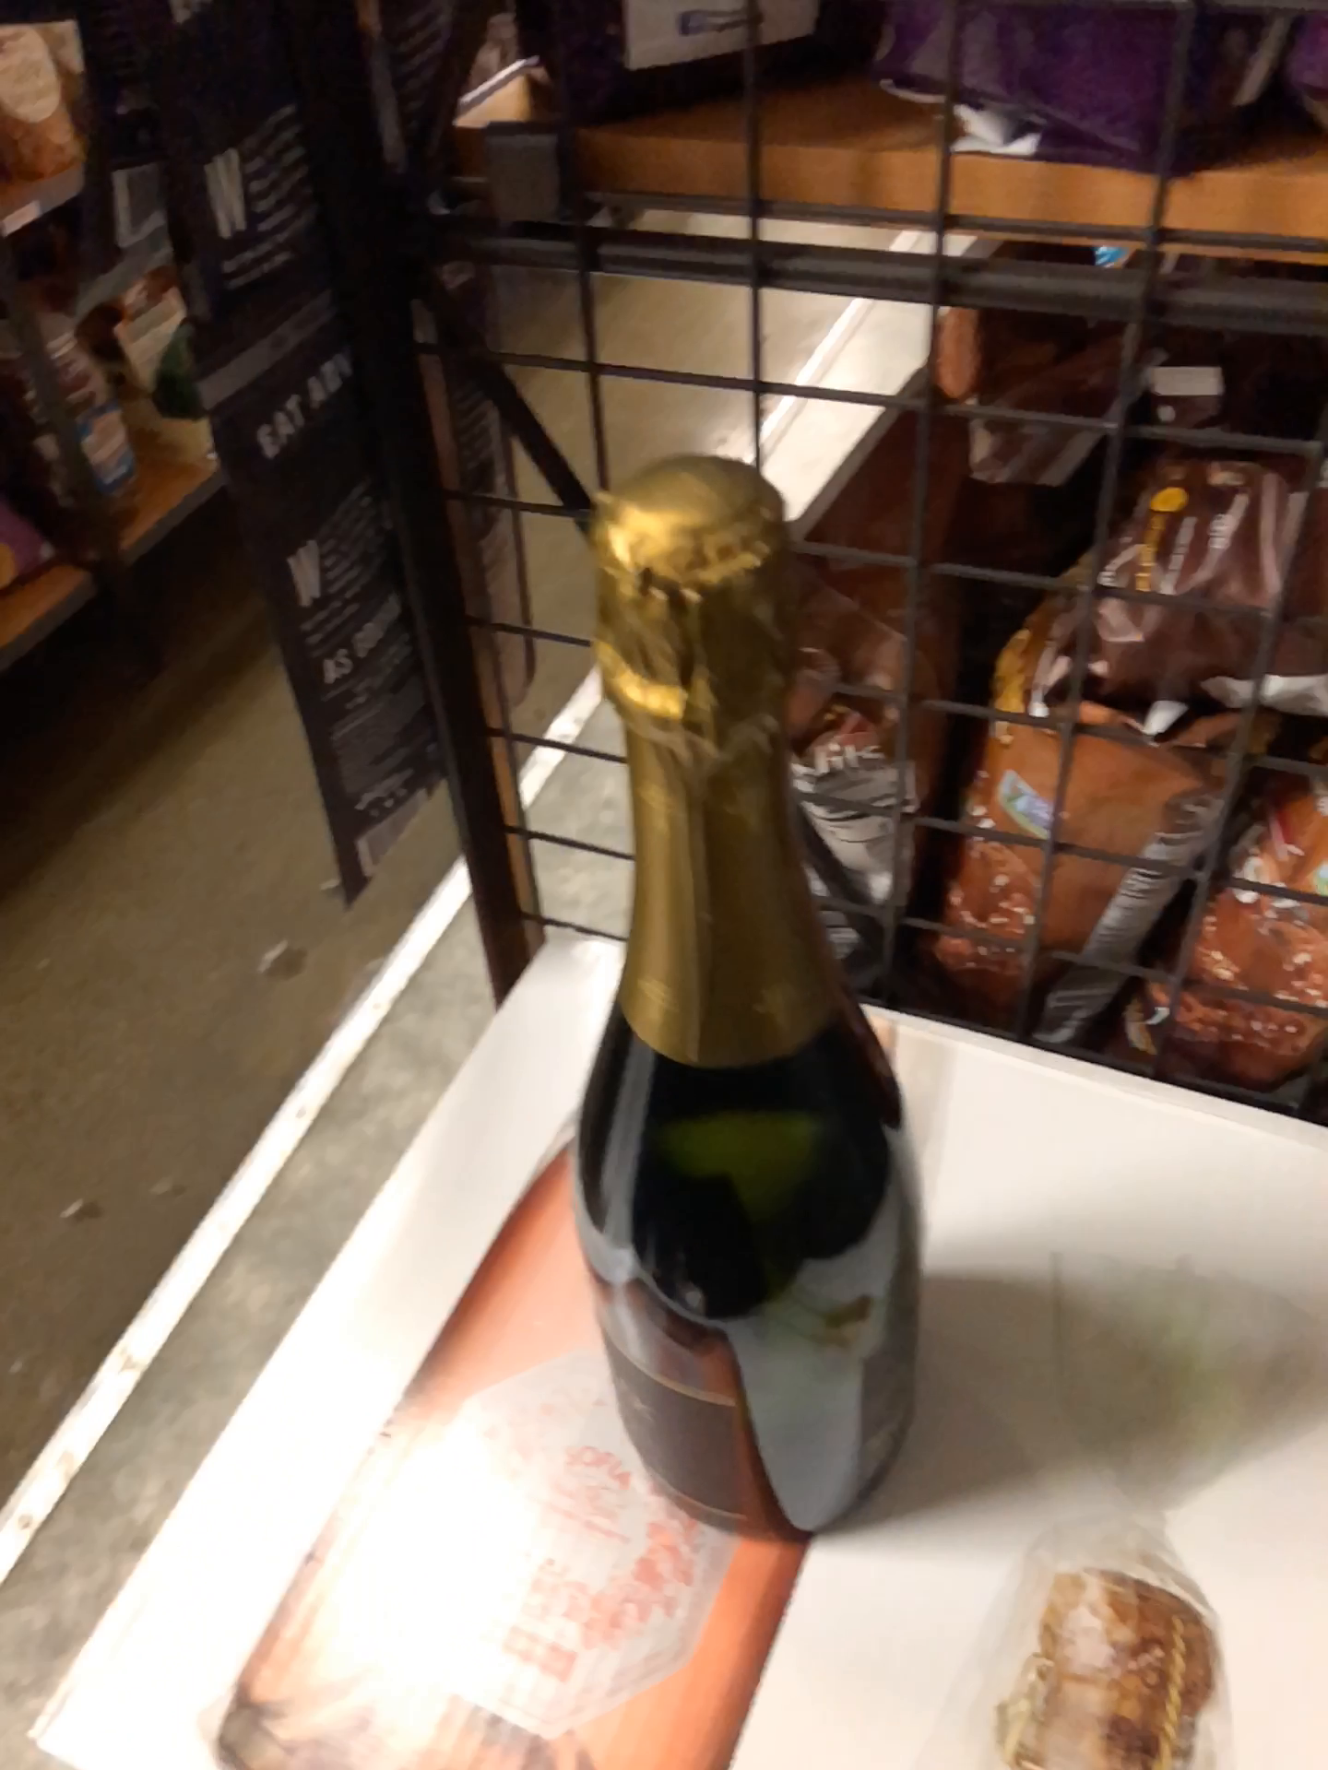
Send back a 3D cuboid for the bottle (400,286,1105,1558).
[{"bbox_3d":[0.021,0.042,0.327,0.090,0.309,0.090,-2,44,2],"label":"bottle"}]
